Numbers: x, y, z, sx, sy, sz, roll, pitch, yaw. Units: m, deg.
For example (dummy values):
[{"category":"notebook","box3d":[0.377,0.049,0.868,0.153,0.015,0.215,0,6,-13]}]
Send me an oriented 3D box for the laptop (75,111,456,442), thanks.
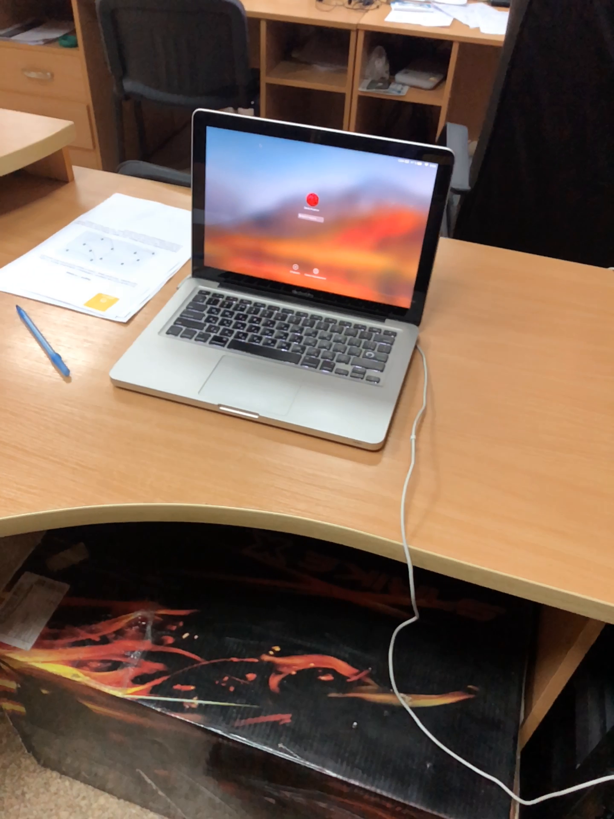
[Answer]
[{"category":"laptop","box3d":[-0.029,-0.163,0.761,0.315,0.207,0.267,13,43,10]}]
